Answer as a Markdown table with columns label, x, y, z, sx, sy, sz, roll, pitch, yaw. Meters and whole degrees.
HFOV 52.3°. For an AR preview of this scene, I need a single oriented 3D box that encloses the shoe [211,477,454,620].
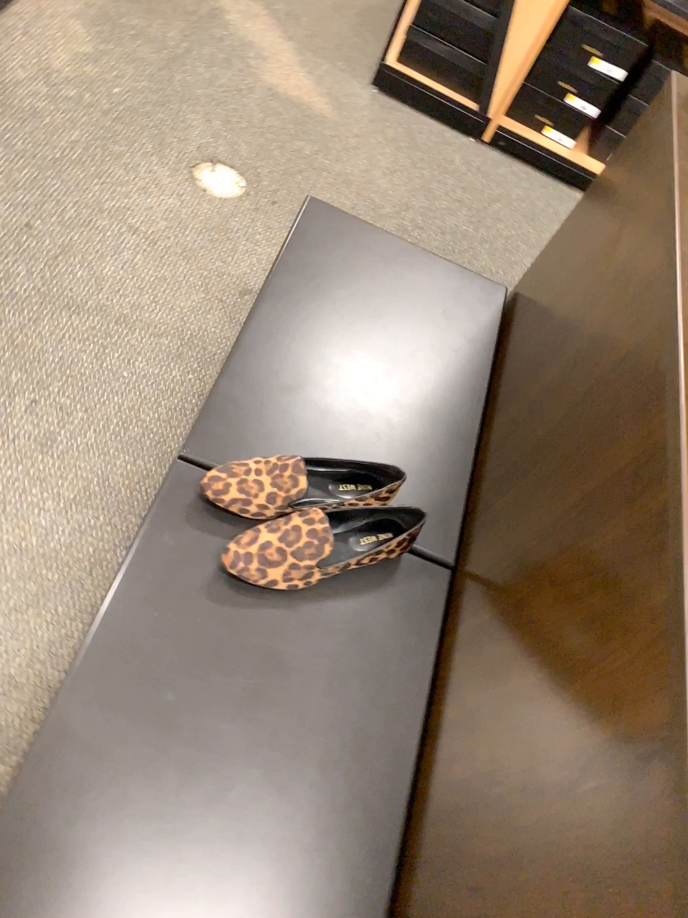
| label | x | y | z | sx | sy | sz | roll | pitch | yaw |
| --- | --- | --- | --- | --- | --- | --- | --- | --- | --- |
| shoe | -0.013 | 0.099 | 0.799 | 0.248 | 0.090 | 0.090 | -8 | 64 | -26 |

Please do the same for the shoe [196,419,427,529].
| label | x | y | z | sx | sy | sz | roll | pitch | yaw |
| --- | --- | --- | --- | --- | --- | --- | --- | --- | --- |
| shoe | -0.041 | 0.022 | 0.823 | 0.247 | 0.090 | 0.090 | 2 | 60 | -20 |
